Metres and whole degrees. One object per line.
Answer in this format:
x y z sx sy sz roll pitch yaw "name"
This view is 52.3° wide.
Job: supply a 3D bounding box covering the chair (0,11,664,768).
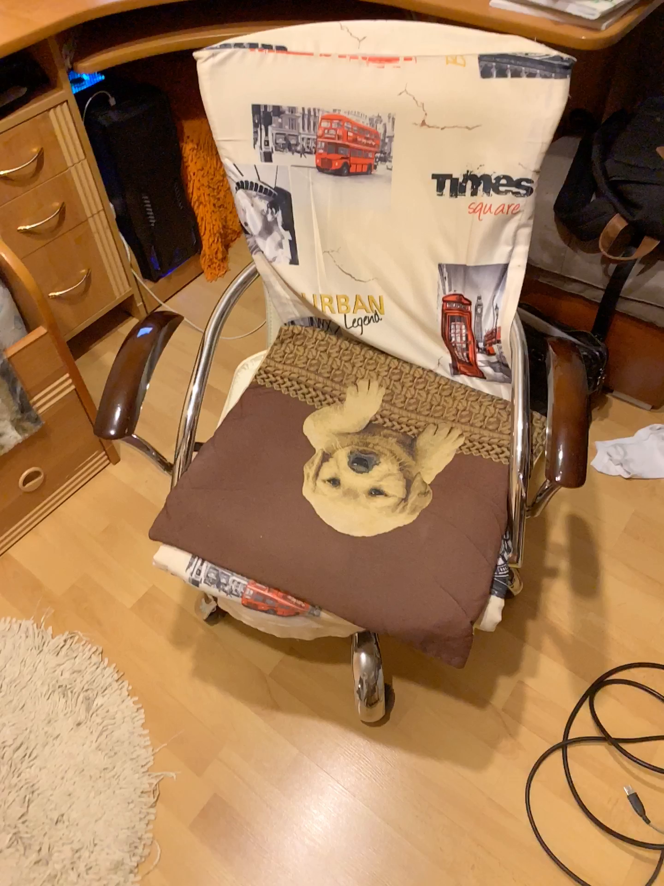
0.038 -0.032 0.821 0.475 0.665 0.567 7 52 7 "chair"
